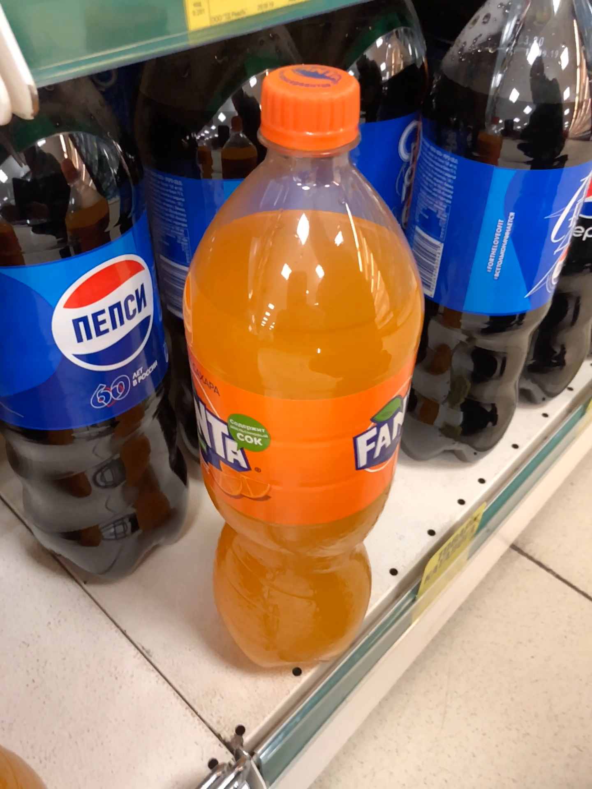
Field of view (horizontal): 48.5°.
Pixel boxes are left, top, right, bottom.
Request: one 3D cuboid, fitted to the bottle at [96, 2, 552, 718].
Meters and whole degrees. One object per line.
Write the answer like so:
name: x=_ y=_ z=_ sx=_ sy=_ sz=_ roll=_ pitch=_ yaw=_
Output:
bottle: x=0.008 y=0.015 z=0.297 sx=0.090 sy=0.308 sz=0.100 roll=30 pitch=50 yaw=27
